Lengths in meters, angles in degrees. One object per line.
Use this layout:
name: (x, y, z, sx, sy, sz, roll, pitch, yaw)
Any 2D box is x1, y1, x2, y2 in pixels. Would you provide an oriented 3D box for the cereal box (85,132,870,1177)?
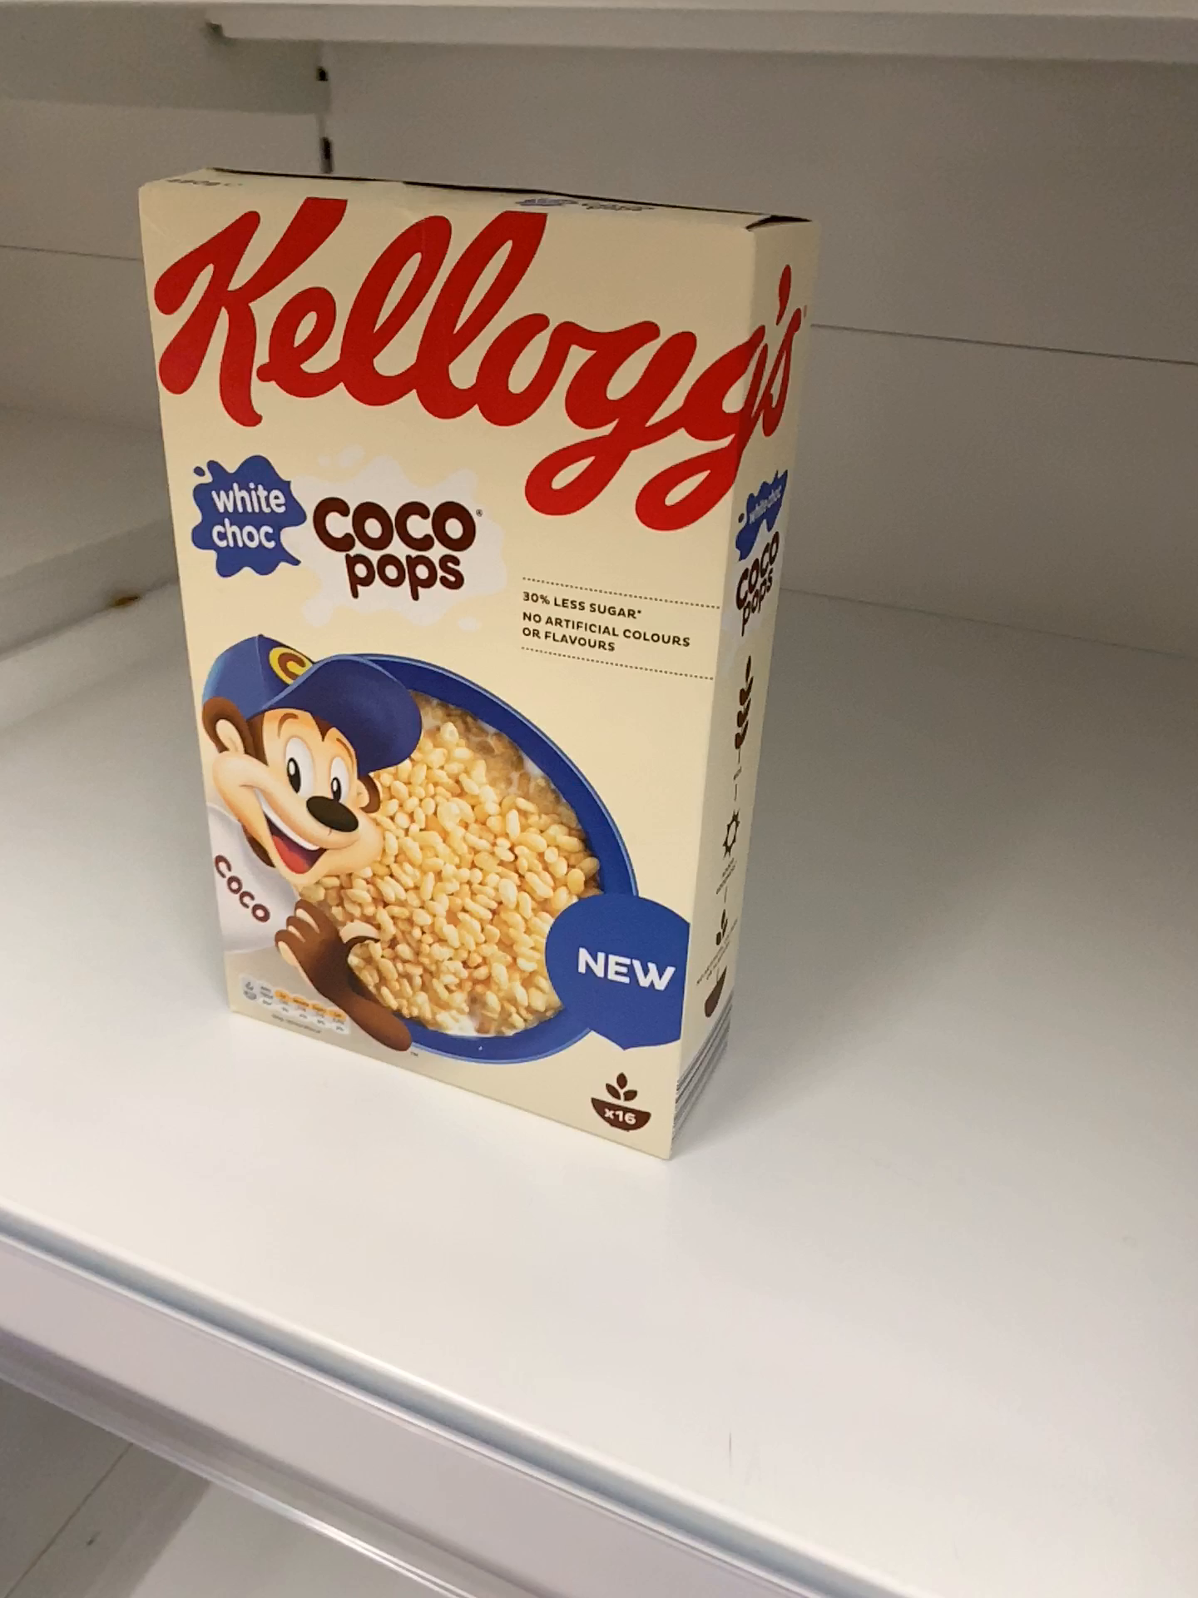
cereal box: (-0.044, -0.046, 0.408, 0.210, 0.297, 0.071, 14, 28, 20)
